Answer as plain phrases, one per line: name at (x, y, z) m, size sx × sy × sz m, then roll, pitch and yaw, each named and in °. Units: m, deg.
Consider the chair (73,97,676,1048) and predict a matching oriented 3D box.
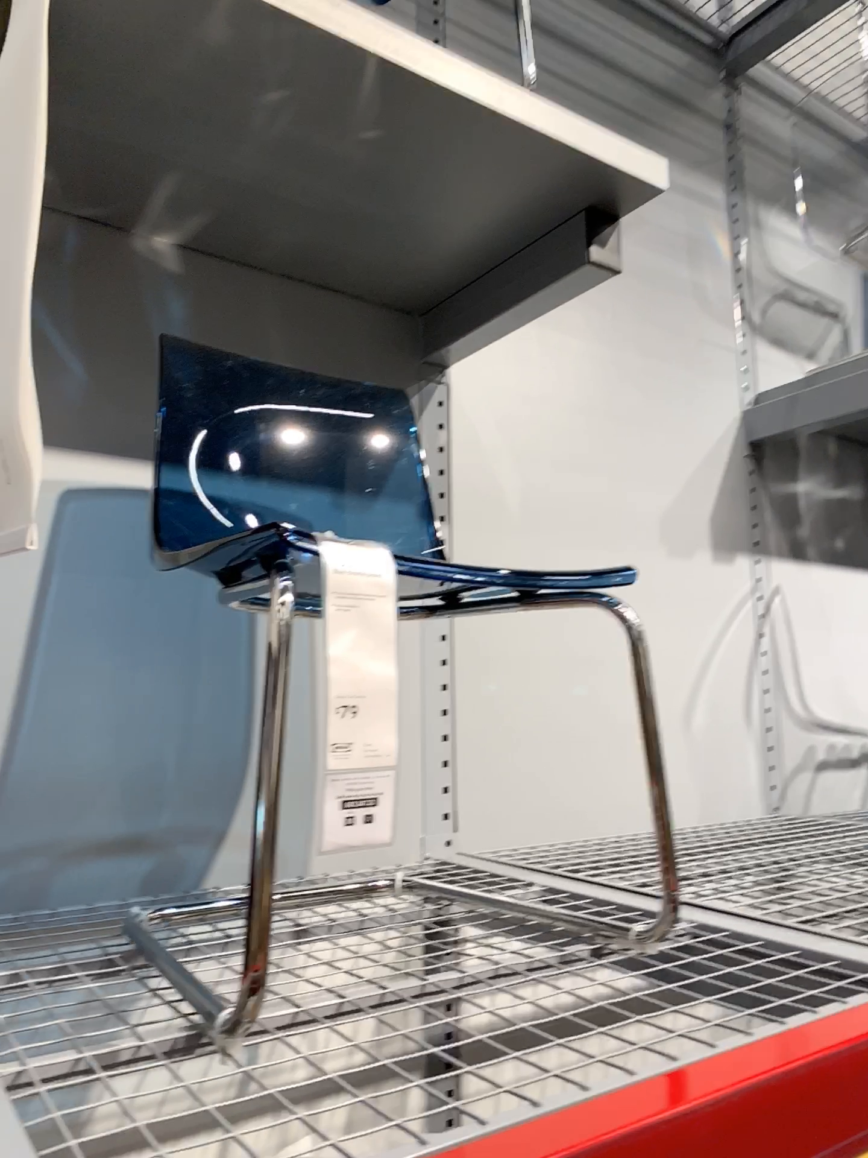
chair at (-0.104, 0.012, 1.145) m, size 0.529 × 0.842 × 0.549 m, roll 5°, pitch -11°, yaw -33°
